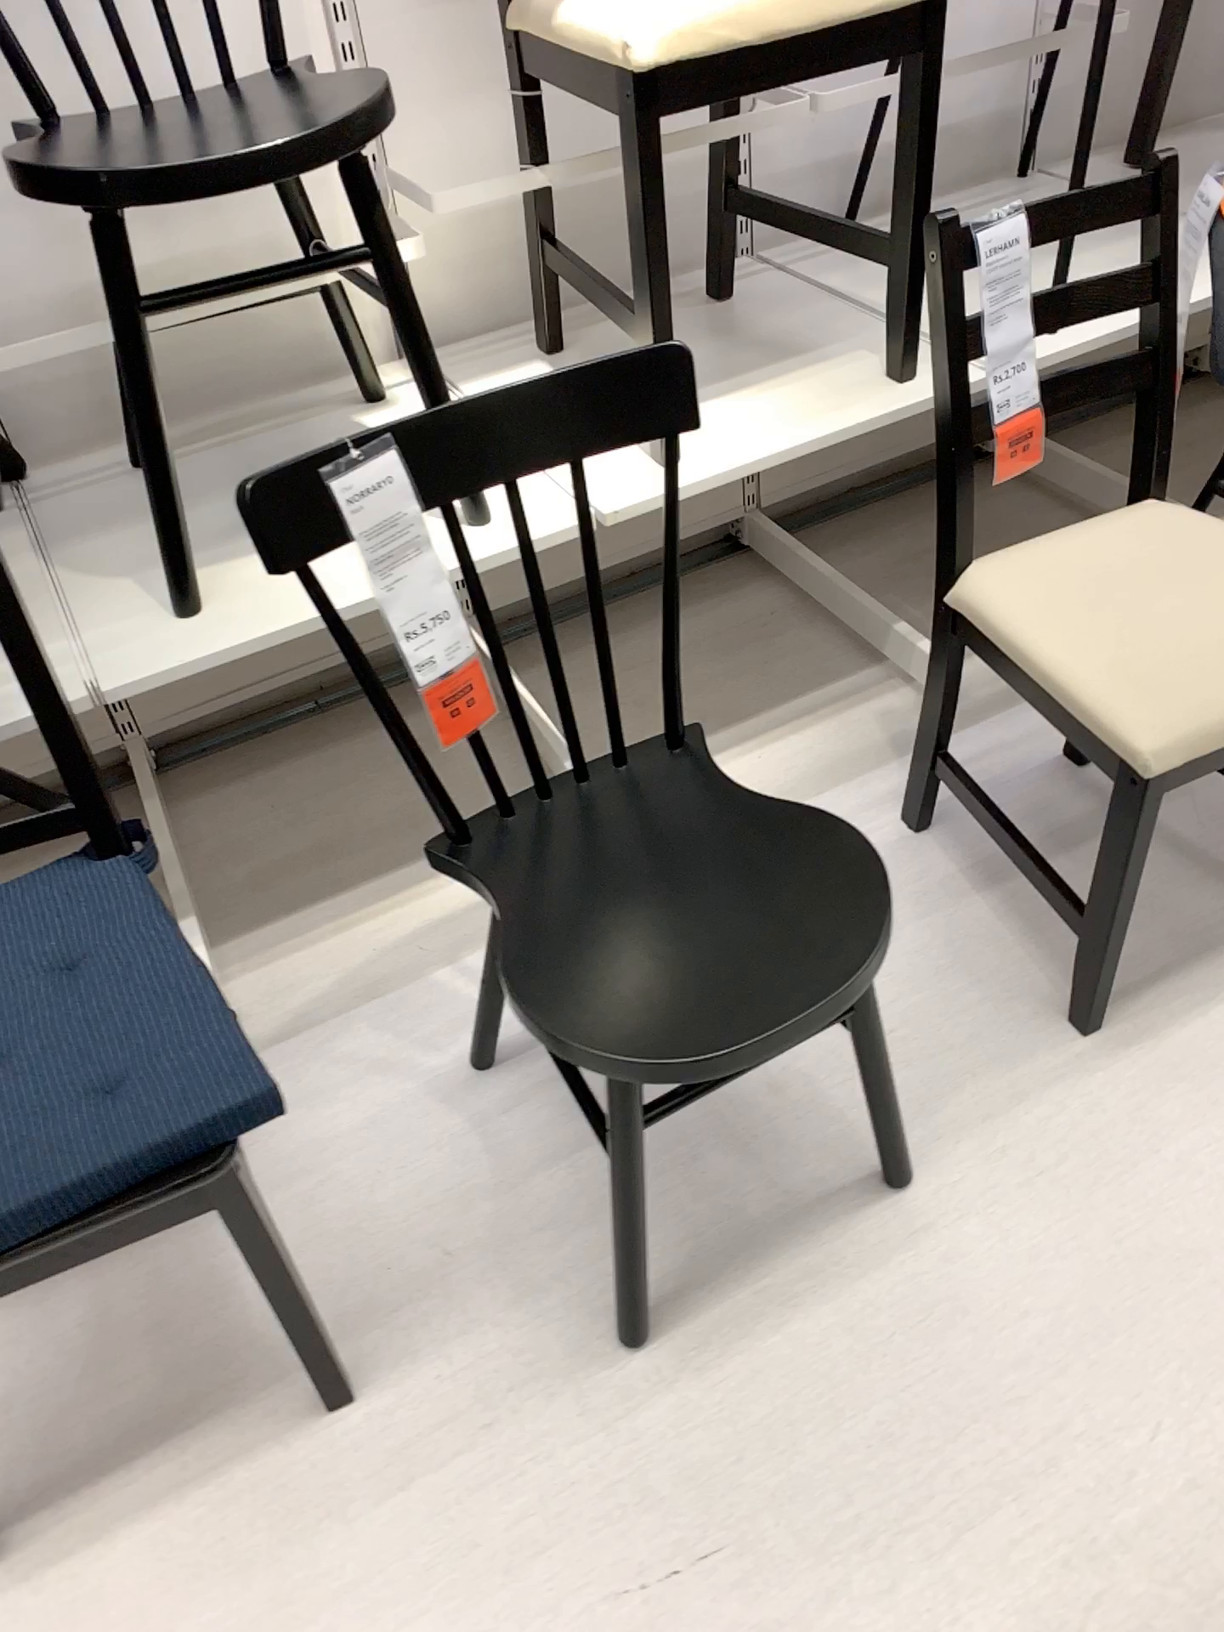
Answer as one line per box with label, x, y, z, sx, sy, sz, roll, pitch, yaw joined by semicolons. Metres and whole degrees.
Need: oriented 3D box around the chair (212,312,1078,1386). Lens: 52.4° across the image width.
chair;0.025;0.039;1.216;0.470;0.787;0.522;-24;44;-17
